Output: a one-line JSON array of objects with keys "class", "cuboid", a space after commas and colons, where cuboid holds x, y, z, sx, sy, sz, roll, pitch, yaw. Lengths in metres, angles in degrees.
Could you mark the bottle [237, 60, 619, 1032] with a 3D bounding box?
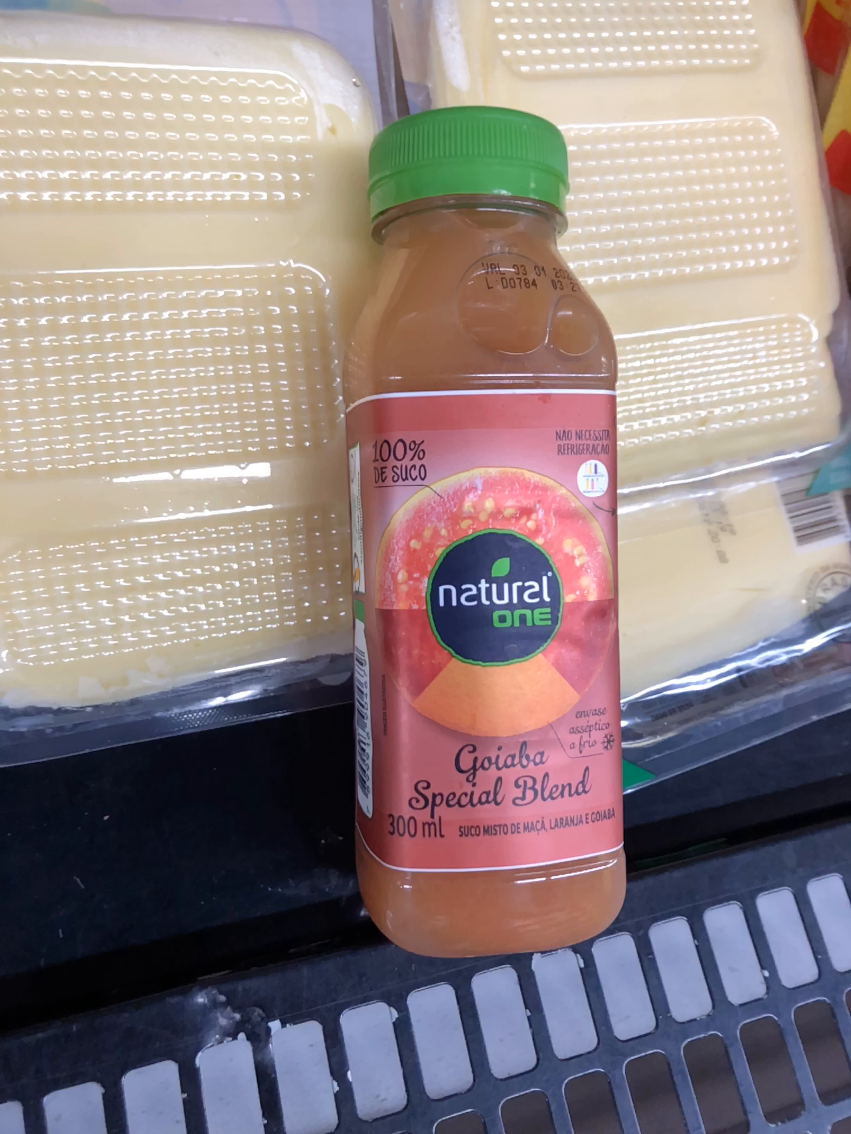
[{"class": "bottle", "cuboid": [-0.005, -0.006, 0.218, 0.060, 0.070, 0.180, -3, 87, -15]}]
